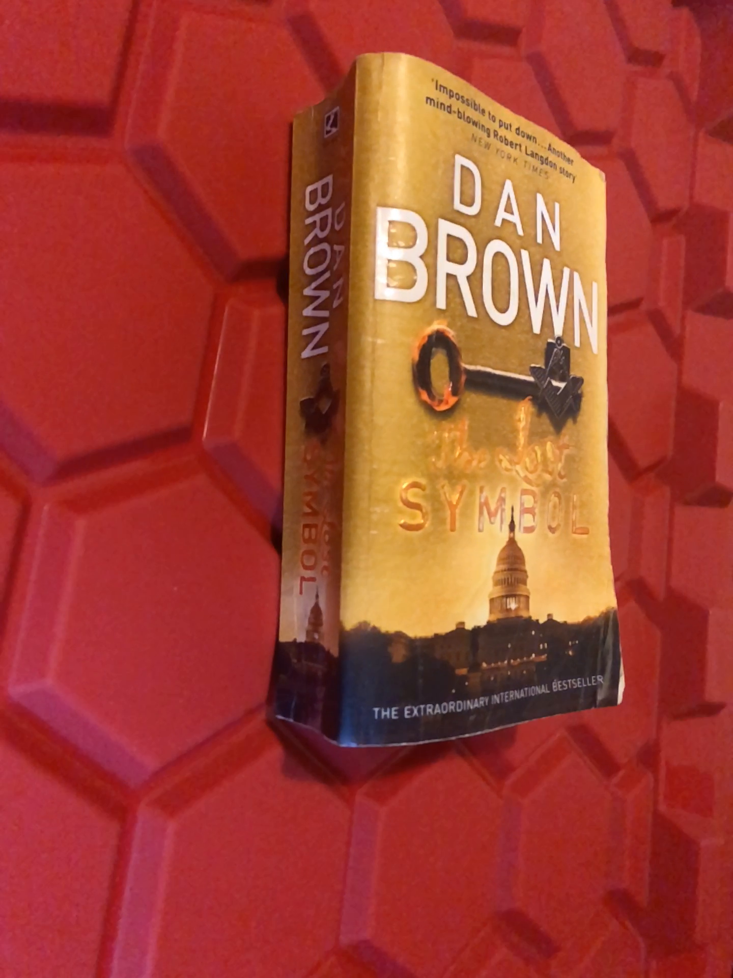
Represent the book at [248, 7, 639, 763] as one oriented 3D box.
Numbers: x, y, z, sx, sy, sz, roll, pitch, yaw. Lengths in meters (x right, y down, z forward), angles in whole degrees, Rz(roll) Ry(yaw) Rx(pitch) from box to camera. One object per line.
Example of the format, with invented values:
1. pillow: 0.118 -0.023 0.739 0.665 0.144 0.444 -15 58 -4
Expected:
1. book: 0.030 -0.023 0.255 0.123 0.050 0.183 5 84 -43
